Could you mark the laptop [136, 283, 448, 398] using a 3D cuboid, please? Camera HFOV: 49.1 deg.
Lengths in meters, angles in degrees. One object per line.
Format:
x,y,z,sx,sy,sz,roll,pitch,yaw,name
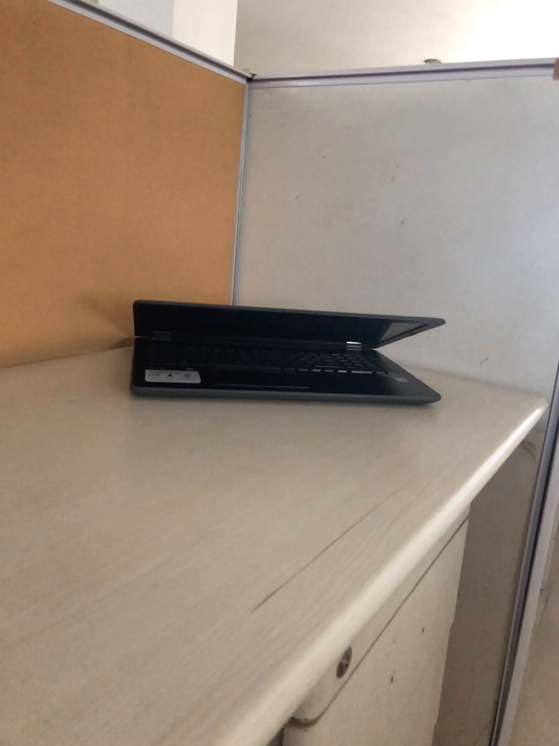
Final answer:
-0.003,-0.049,0.812,0.361,0.074,0.238,2,17,-13,laptop
